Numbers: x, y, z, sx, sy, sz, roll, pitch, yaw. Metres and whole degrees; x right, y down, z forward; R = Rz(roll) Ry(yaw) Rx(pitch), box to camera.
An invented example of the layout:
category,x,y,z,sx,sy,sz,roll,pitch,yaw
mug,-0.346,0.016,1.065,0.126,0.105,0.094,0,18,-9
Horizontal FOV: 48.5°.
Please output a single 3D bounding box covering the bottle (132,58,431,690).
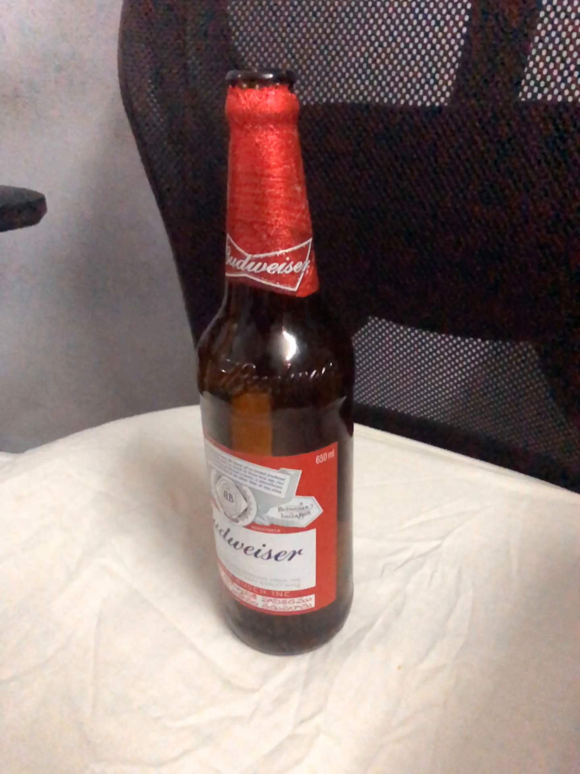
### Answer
category,x,y,z,sx,sy,sz,roll,pitch,yaw
bottle,0.000,0.007,0.299,0.080,0.279,0.070,19,36,30
